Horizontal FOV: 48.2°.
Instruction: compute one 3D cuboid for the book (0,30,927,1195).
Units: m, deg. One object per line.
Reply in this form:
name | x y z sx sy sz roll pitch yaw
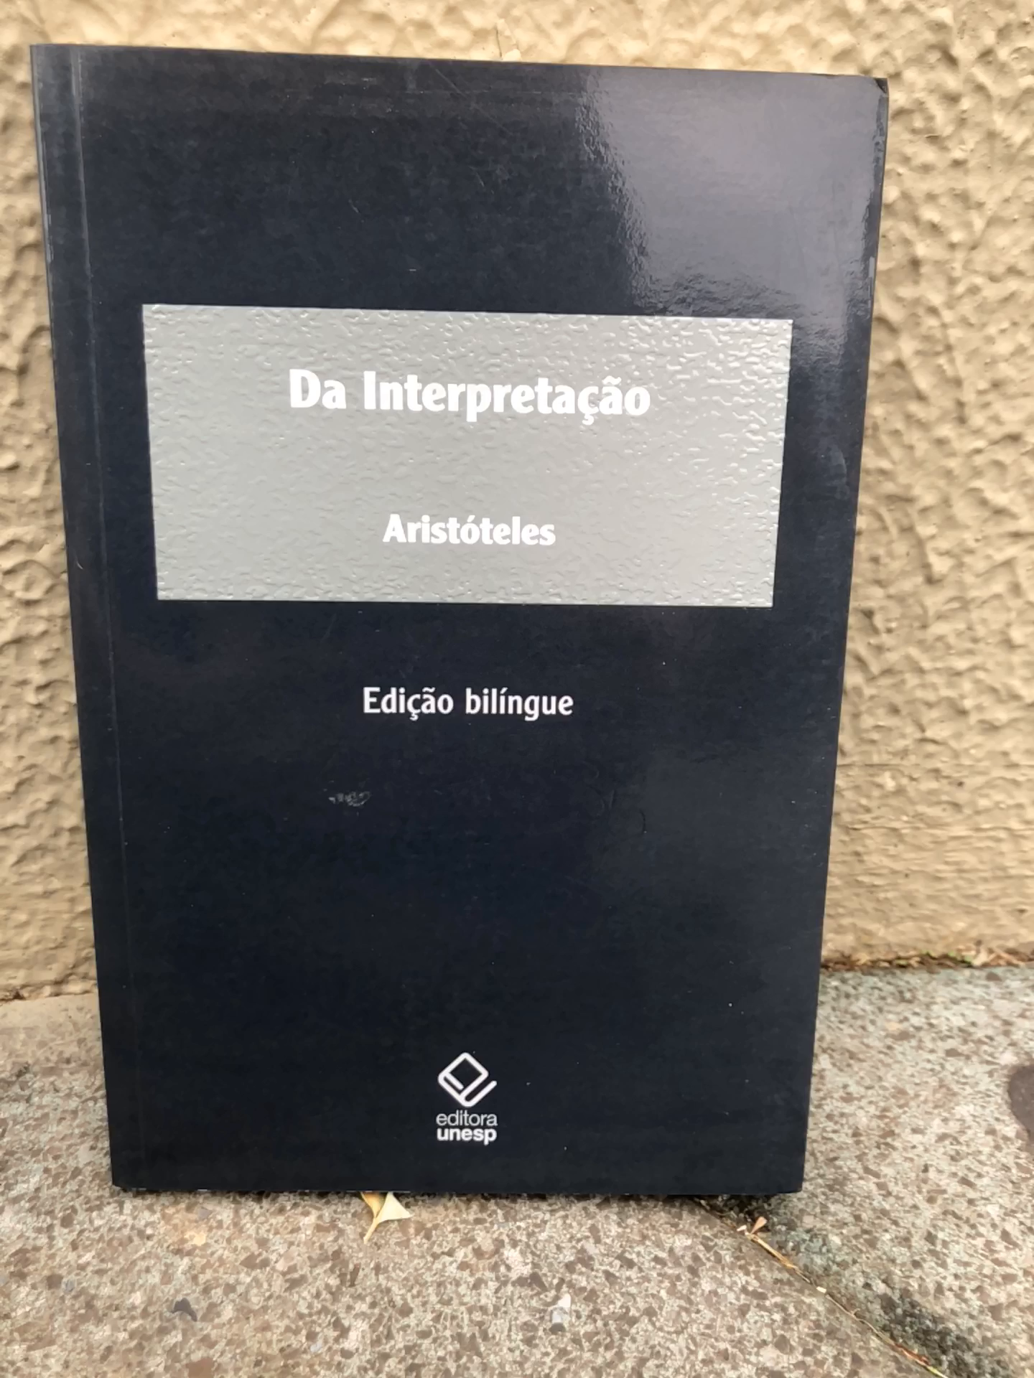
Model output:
book | -0.009 -0.005 0.200 0.132 0.187 0.030 1 13 0
